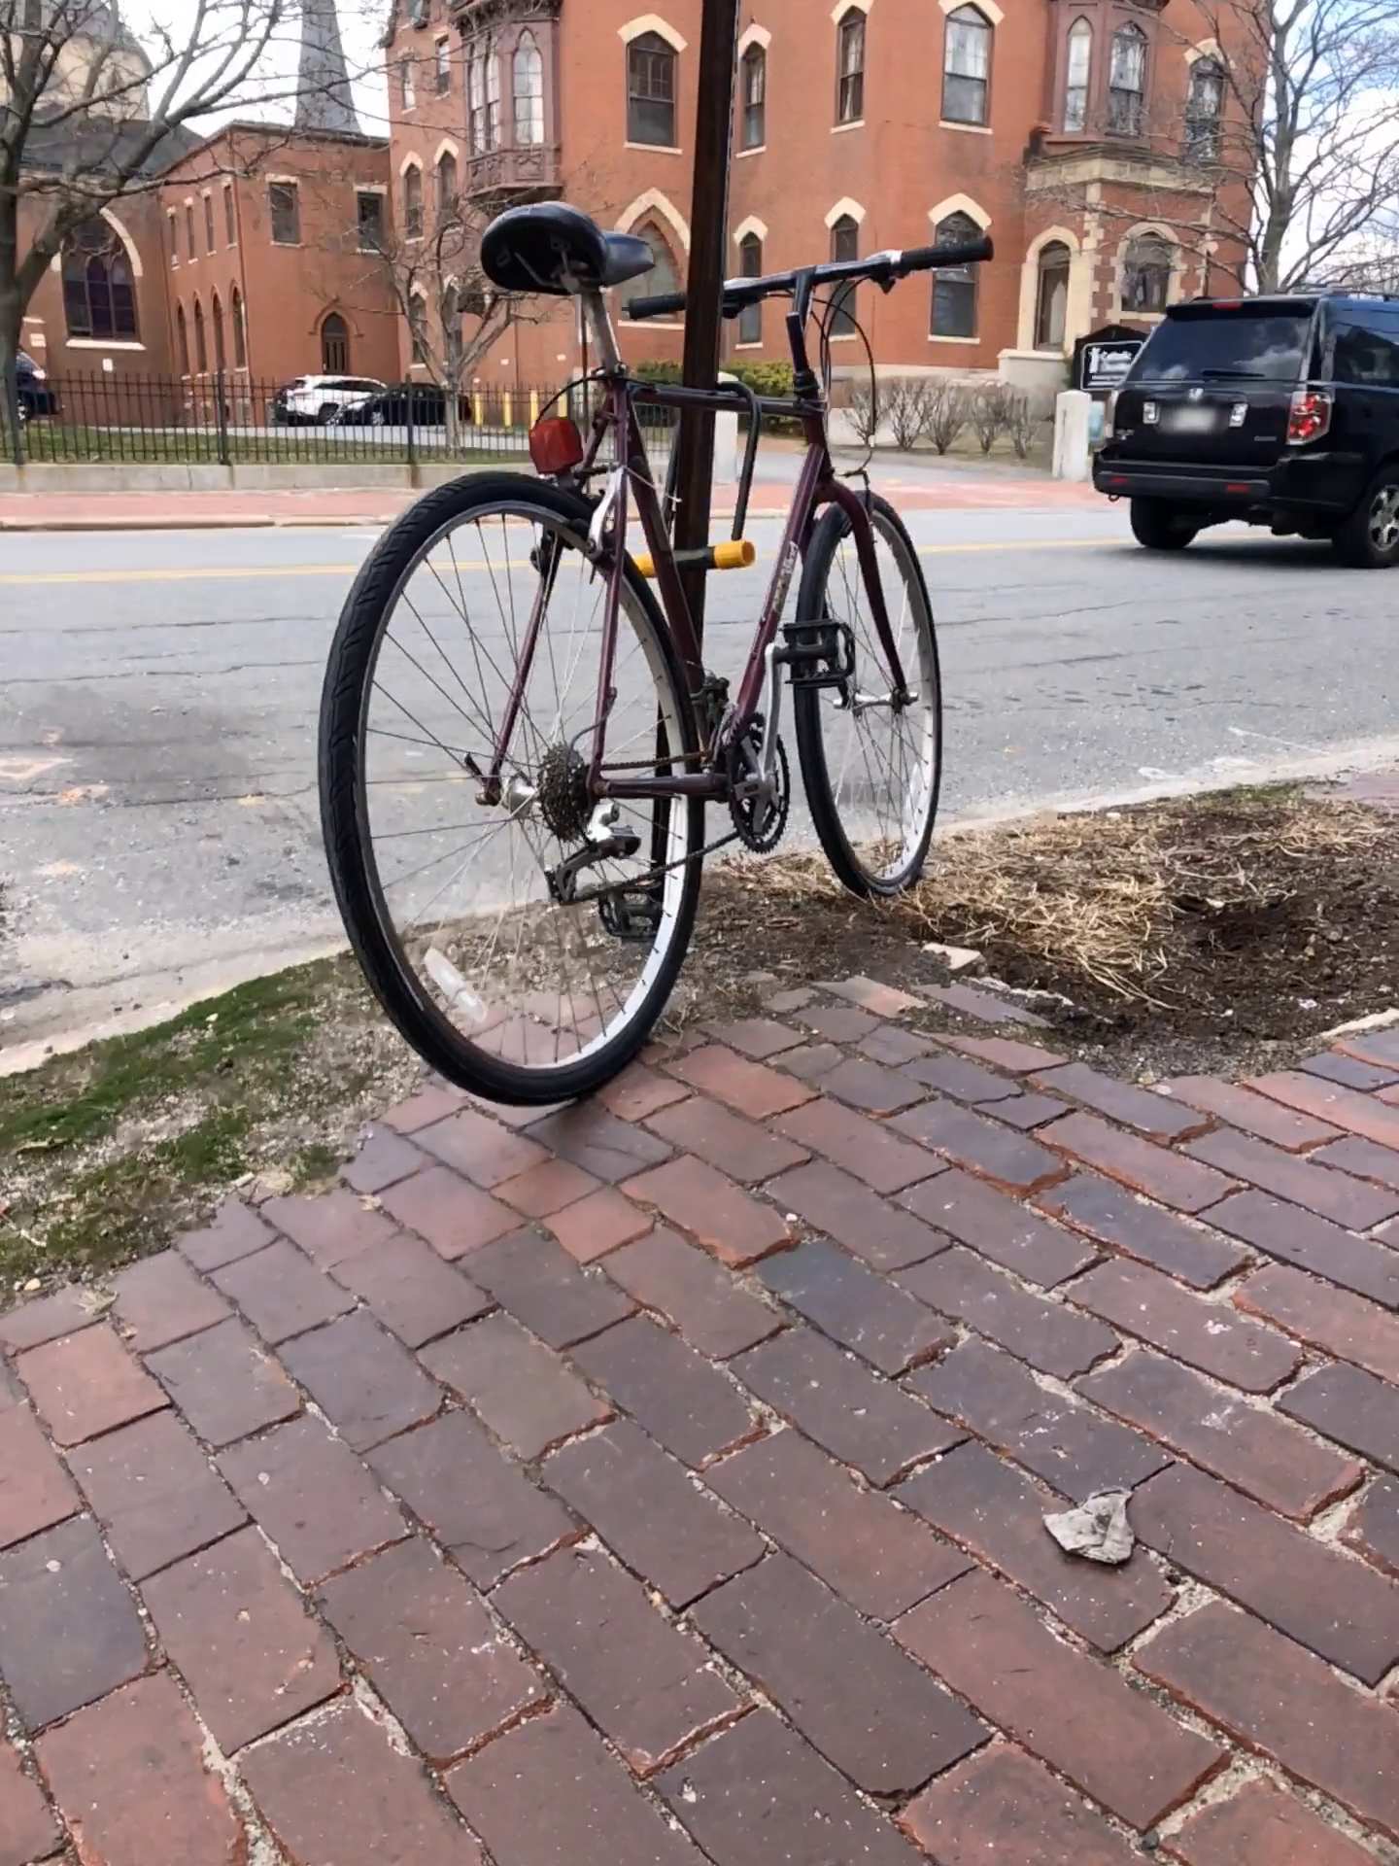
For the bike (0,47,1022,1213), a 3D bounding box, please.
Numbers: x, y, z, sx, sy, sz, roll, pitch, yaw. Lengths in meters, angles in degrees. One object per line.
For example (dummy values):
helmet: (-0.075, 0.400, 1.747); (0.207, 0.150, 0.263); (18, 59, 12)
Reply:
bike: (-0.062, -0.491, 2.141); (0.554, 0.964, 1.690); (8, 20, 25)
